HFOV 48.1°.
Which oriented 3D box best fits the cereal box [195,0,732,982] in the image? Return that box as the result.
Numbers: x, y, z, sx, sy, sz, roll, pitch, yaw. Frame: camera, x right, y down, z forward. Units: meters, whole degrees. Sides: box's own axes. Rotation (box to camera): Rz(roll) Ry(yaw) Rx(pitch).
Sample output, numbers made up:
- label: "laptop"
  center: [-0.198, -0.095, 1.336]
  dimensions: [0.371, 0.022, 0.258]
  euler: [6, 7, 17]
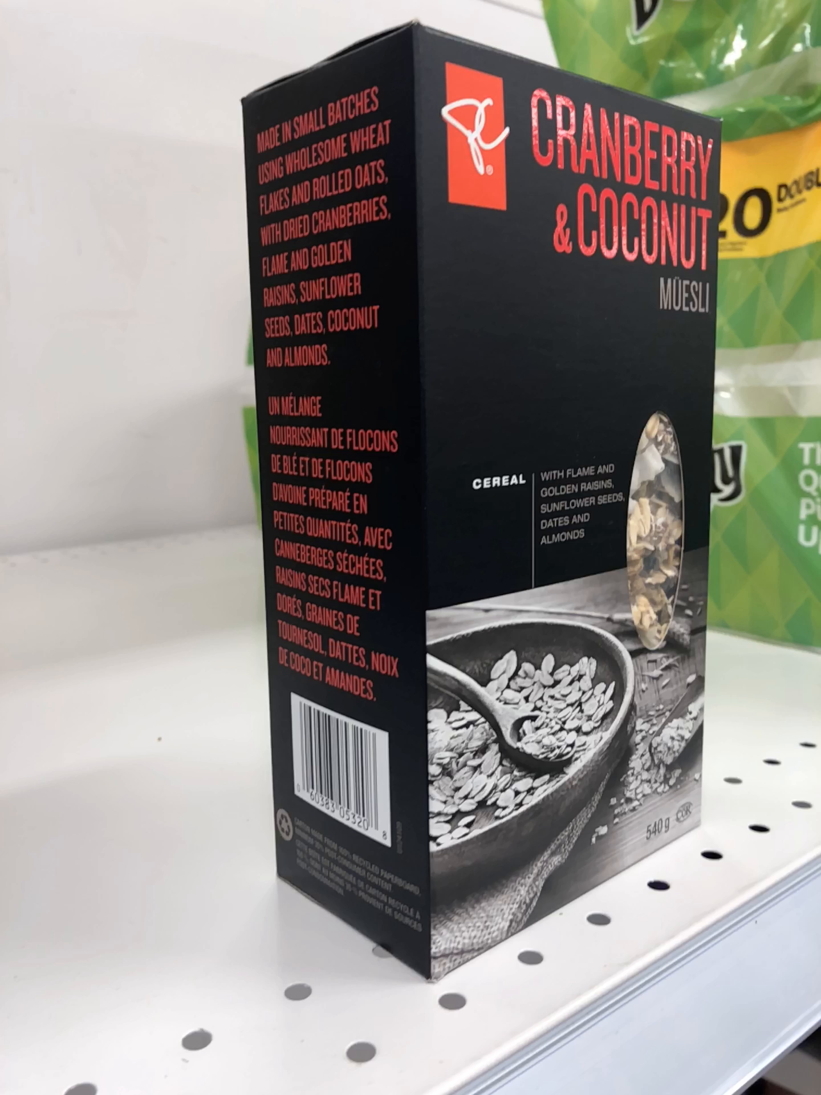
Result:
- label: "cereal box"
  center: [0.022, -0.018, 0.245]
  dimensions: [0.120, 0.200, 0.070]
  euler: [-10, 11, -40]
